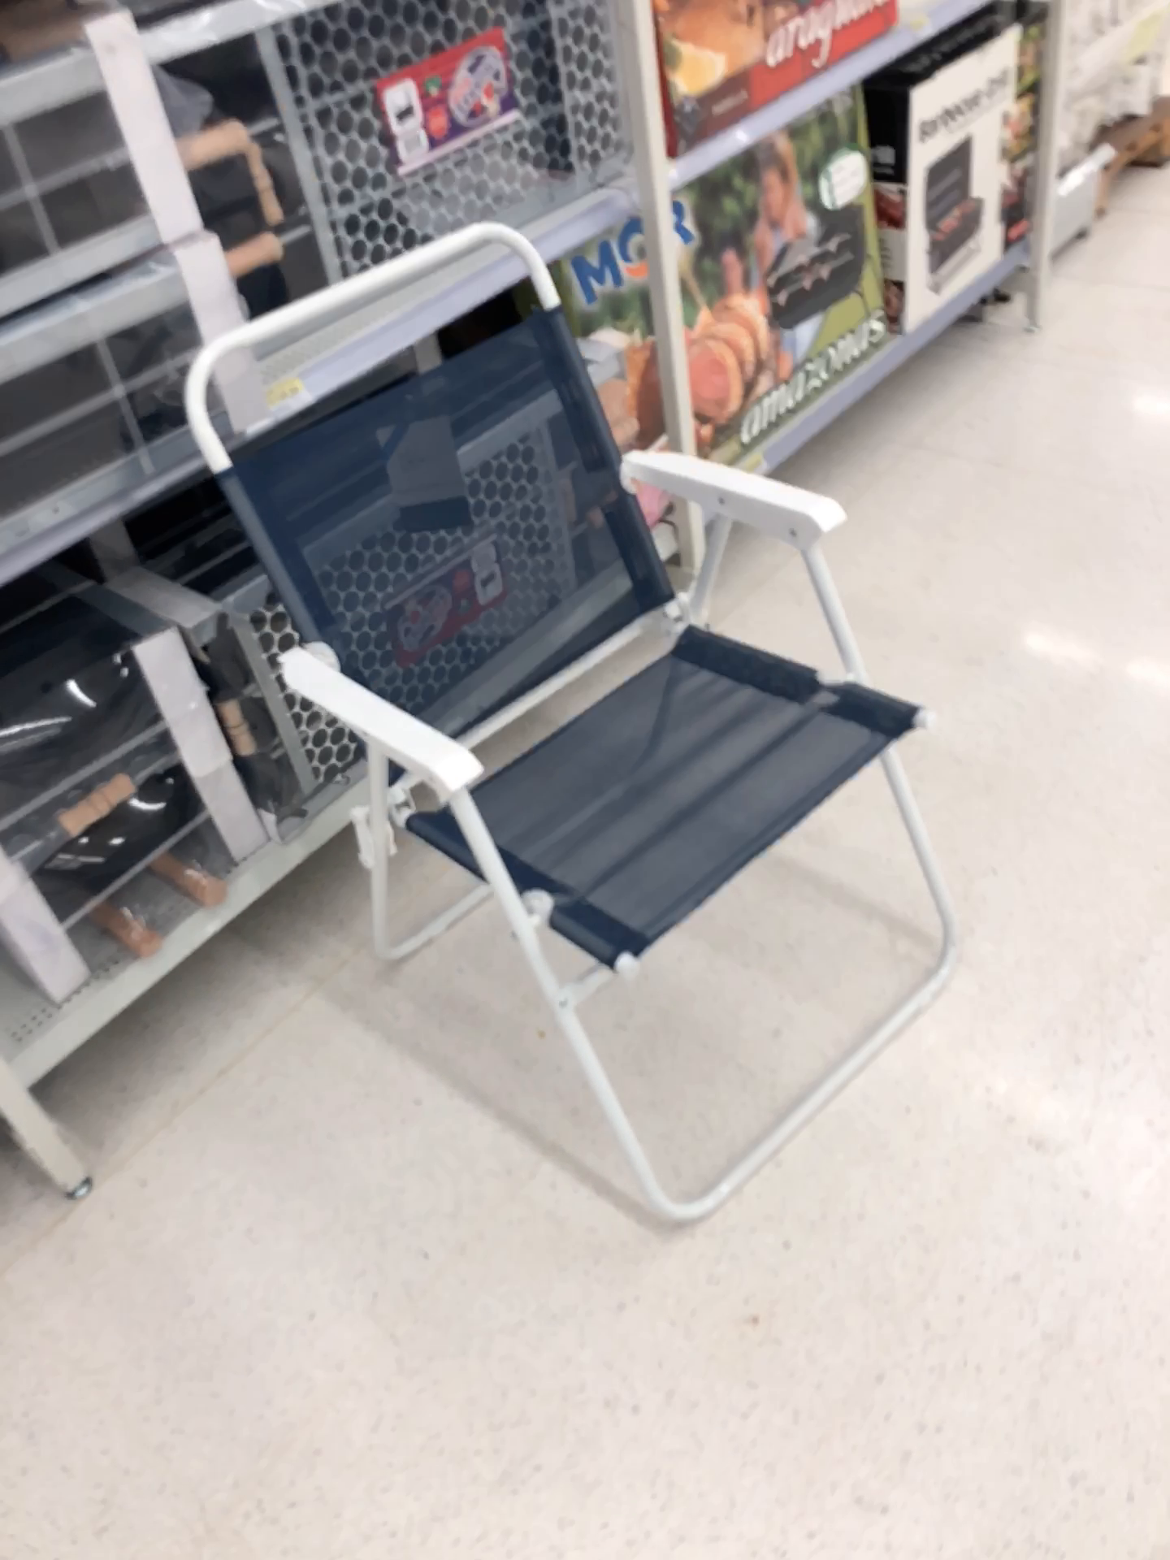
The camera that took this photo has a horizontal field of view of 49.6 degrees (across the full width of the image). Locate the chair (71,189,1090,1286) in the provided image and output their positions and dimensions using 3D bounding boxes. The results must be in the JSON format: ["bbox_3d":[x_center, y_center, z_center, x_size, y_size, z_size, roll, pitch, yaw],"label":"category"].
[{"bbox_3d":[0.015,-0.077,1.269,0.542,0.735,0.653,-36,47,-26],"label":"chair"}]
